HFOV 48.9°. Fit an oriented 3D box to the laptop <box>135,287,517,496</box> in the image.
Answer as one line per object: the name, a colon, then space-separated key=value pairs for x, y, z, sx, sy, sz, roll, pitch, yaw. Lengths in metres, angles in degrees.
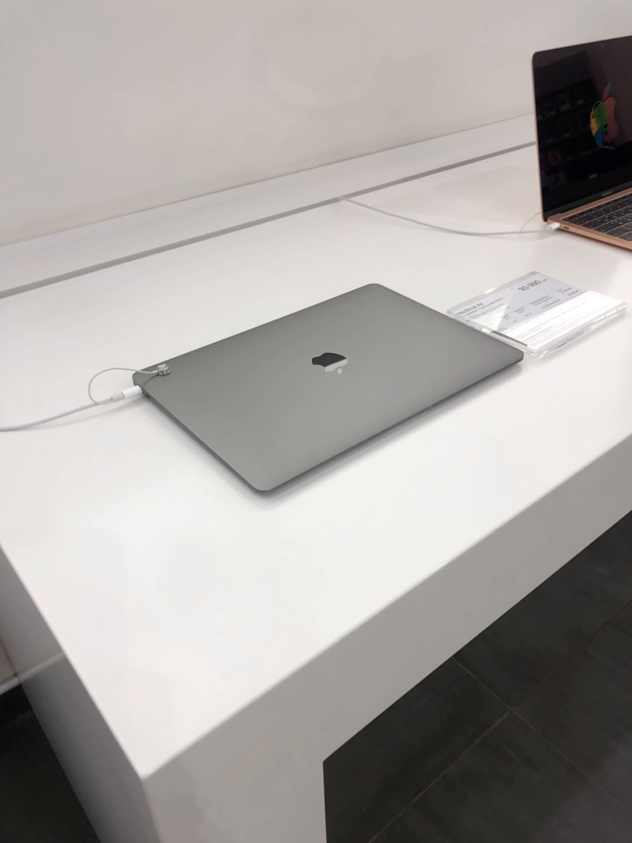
laptop: x=0.011 y=-0.049 z=0.651 sx=0.293 sy=0.006 sz=0.205 roll=-26 pitch=43 yaw=-30
